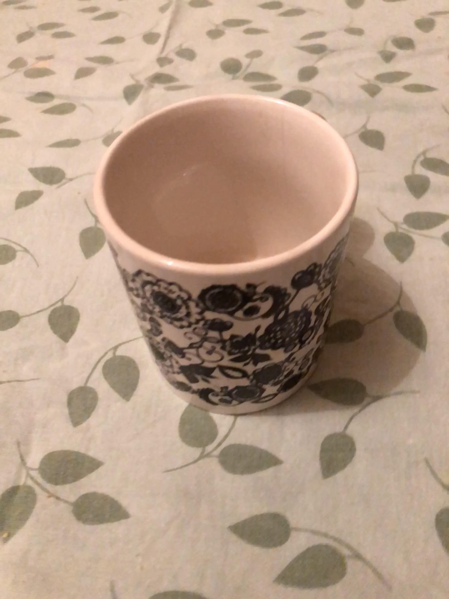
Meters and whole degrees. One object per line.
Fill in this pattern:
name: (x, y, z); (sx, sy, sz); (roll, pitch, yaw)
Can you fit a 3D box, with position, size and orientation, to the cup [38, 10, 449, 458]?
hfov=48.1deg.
cup: (0.016, -0.027, 0.196); (0.080, 0.099, 0.121); (26, 59, 21)
